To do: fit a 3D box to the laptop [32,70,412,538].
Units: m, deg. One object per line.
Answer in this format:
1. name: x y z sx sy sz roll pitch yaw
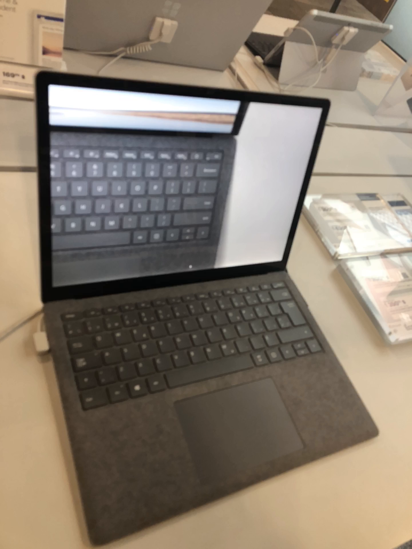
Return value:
1. laptop: 0.025 0.004 0.410 0.297 0.197 0.295 -7 55 -28
